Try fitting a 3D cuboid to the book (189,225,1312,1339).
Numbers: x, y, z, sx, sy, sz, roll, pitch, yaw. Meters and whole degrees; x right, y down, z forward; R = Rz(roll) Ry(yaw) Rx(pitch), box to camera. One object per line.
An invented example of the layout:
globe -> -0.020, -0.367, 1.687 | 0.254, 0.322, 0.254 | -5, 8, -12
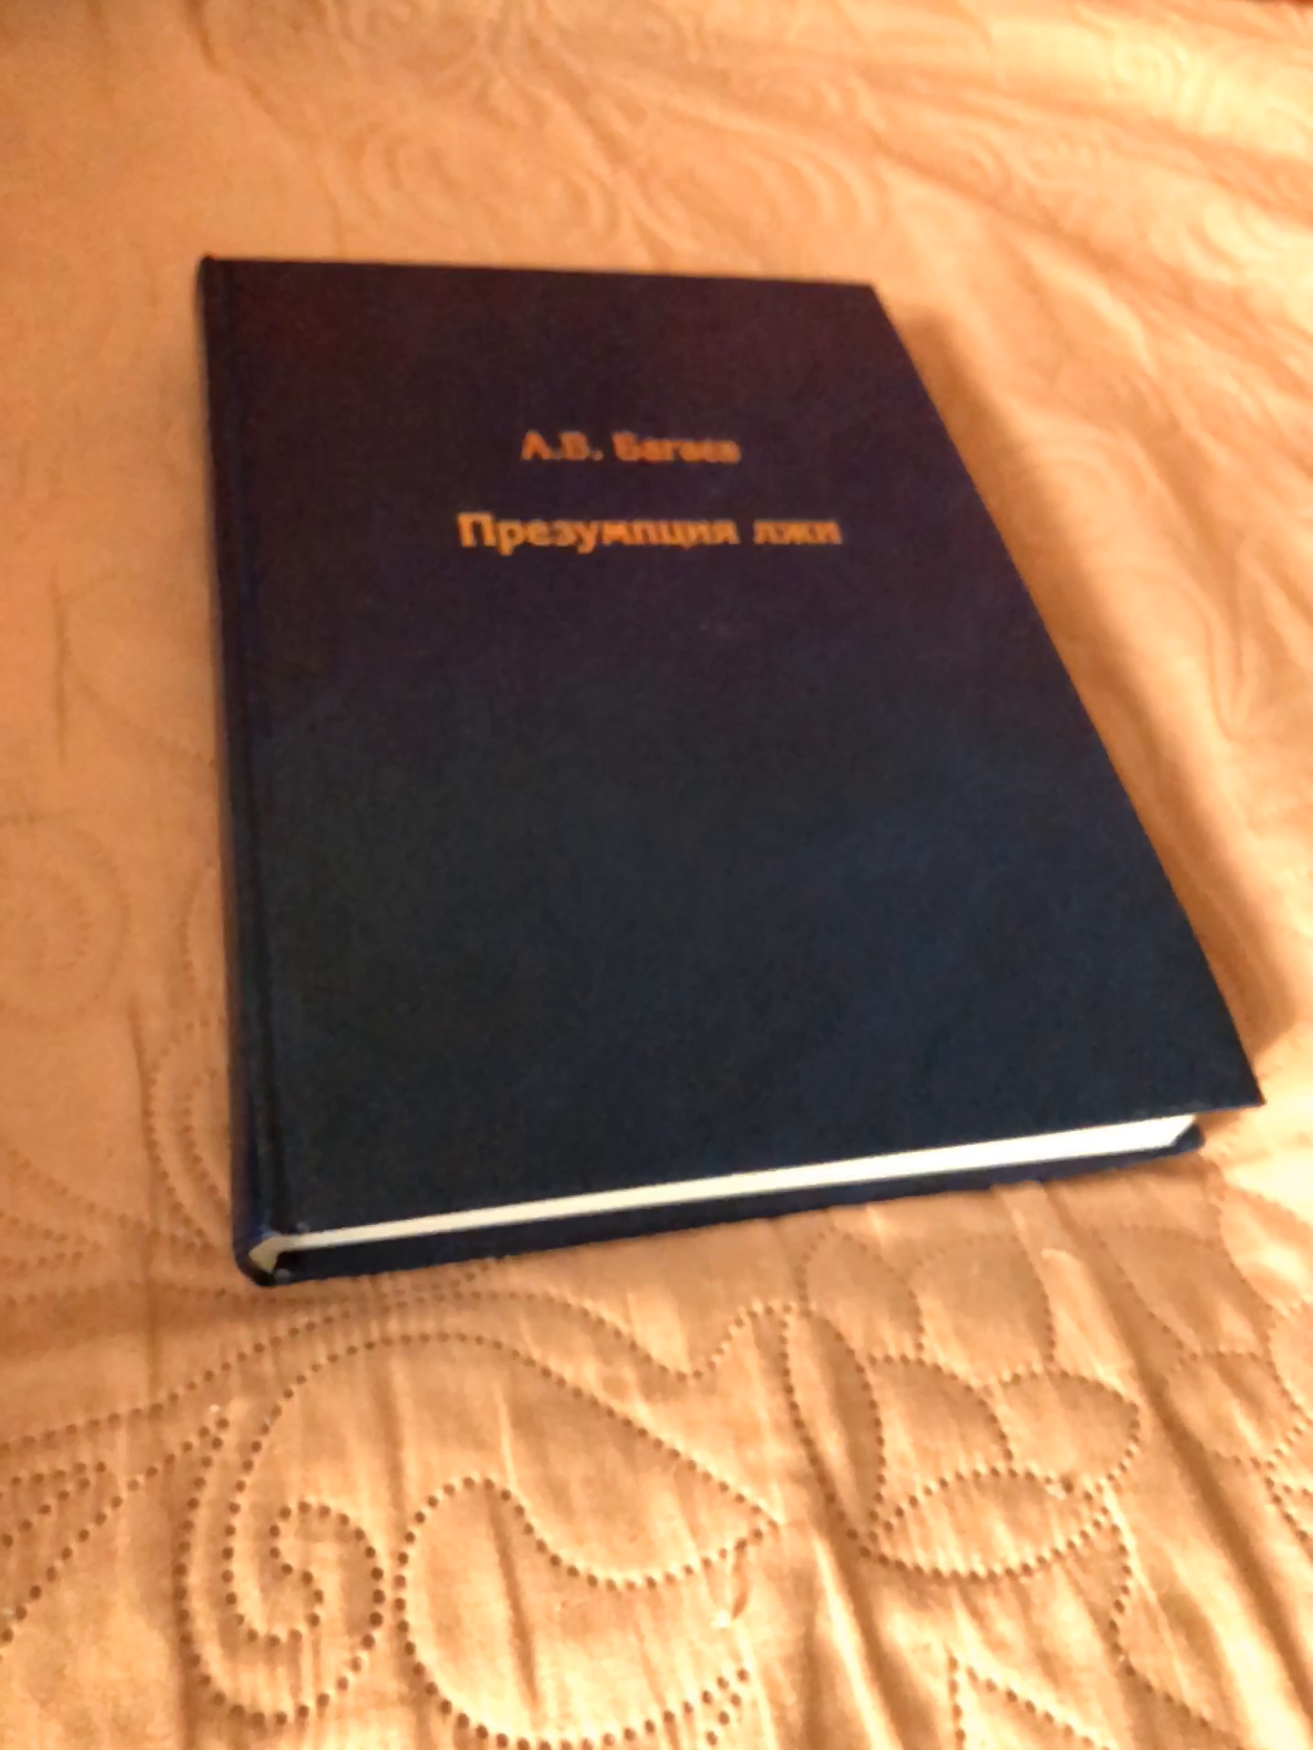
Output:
book -> -0.001, -0.048, 0.317 | 0.180, 0.030, 0.261 | -4, 56, -15
